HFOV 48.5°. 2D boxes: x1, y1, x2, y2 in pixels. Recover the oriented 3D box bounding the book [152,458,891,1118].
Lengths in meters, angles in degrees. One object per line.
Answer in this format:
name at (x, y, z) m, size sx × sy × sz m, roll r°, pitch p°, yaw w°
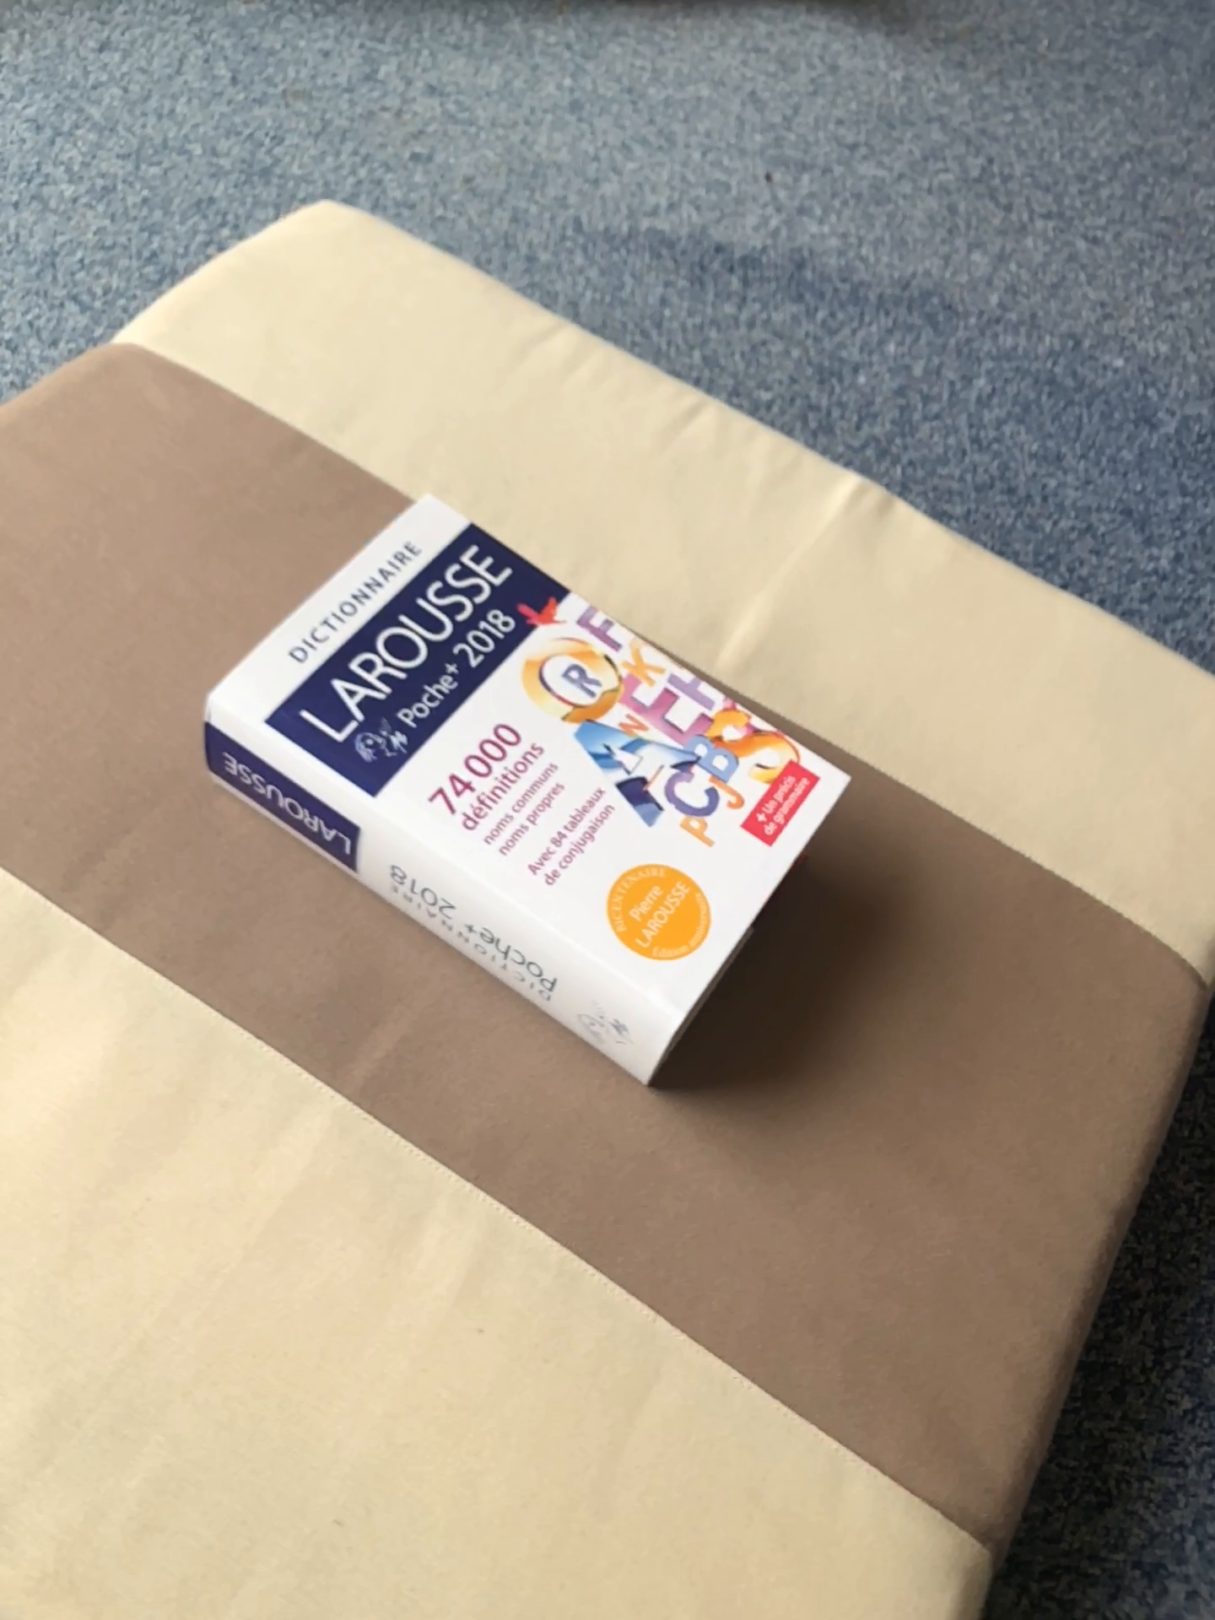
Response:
book at (-0.028, -0.014, 0.457) m, size 0.200 × 0.060 × 0.131 m, roll 33°, pitch 57°, yaw 10°
